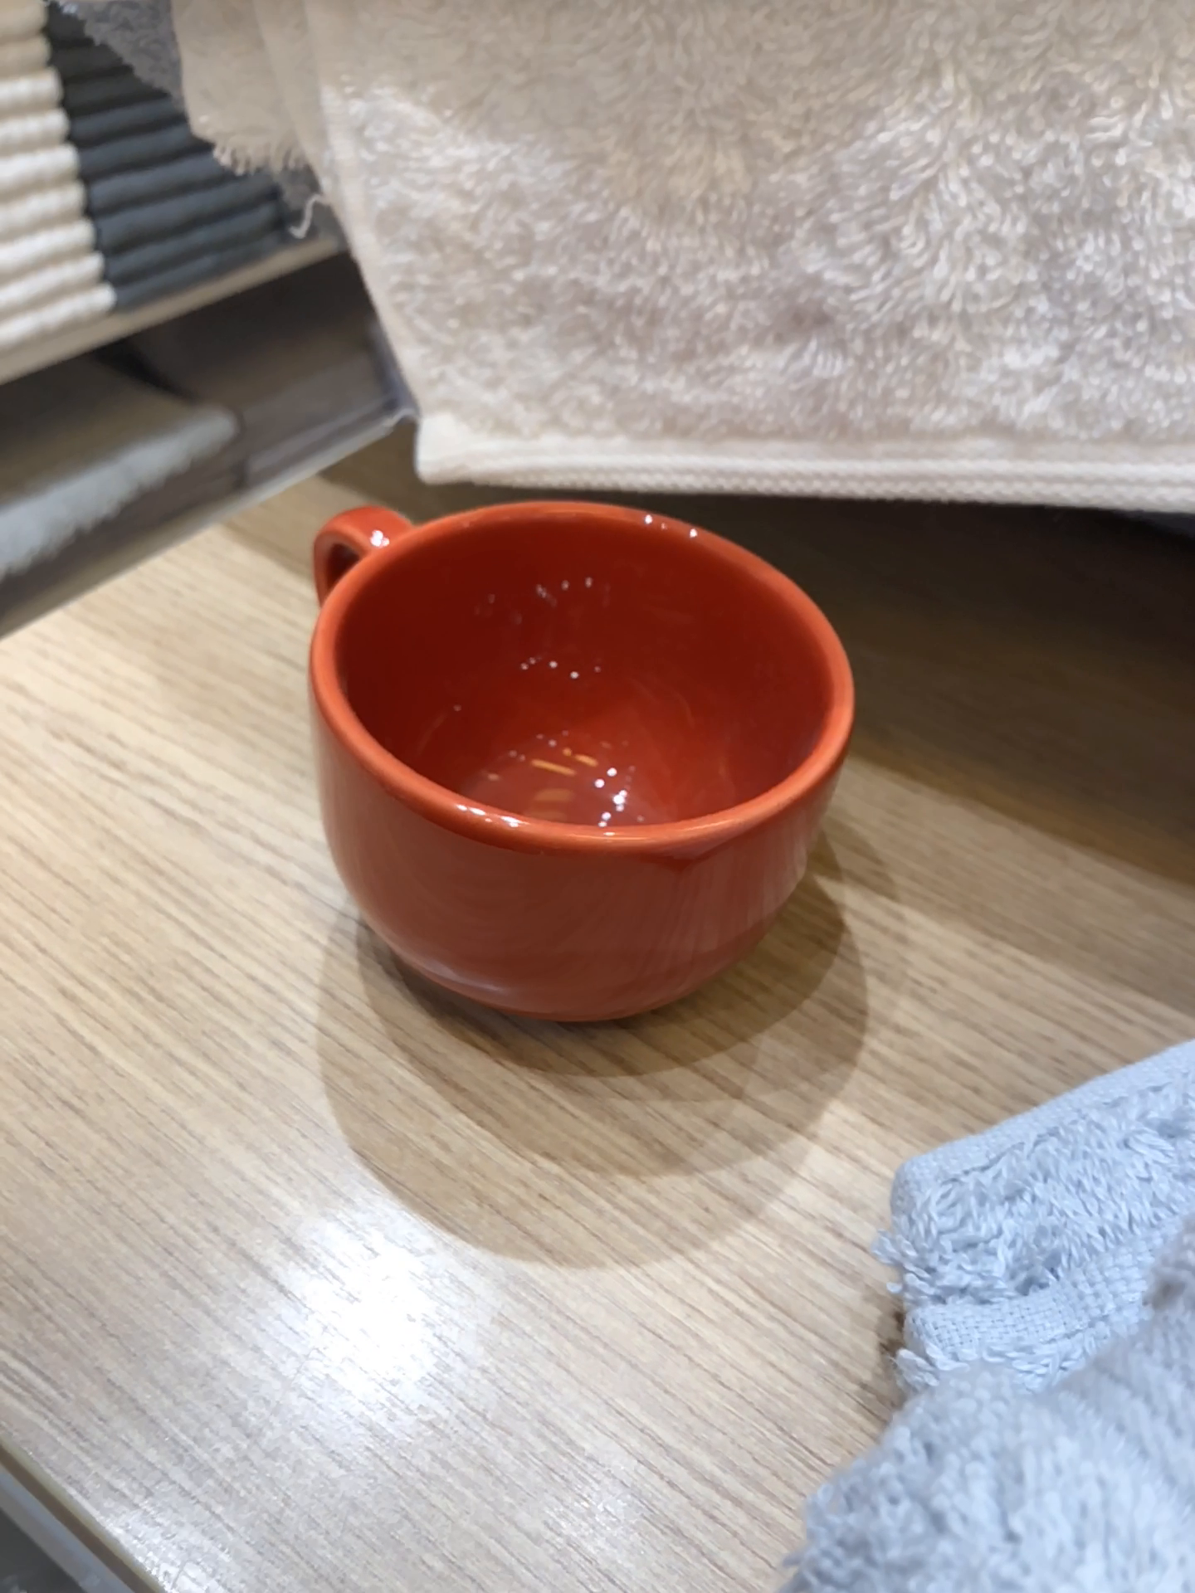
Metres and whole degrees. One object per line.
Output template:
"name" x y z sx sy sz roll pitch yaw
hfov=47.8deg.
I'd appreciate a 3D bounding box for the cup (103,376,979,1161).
"cup" -0.010 -0.013 0.213 0.100 0.050 0.080 35 49 25
